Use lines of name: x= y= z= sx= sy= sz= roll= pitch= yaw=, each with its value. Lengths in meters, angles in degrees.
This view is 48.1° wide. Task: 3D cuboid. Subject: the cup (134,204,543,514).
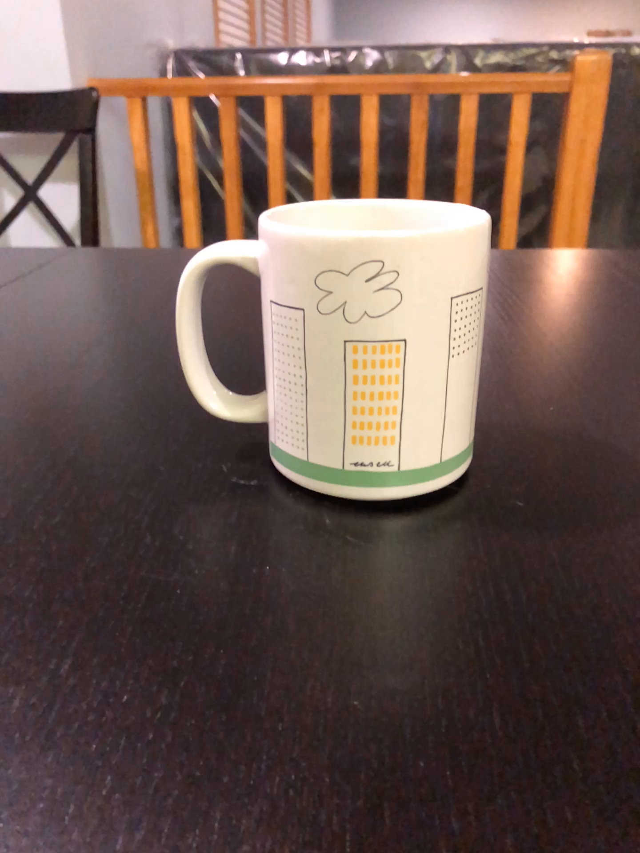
cup: x=0.006 y=-0.032 z=0.289 sx=0.130 sy=0.100 sz=0.090 roll=-1 pitch=24 yaw=0
